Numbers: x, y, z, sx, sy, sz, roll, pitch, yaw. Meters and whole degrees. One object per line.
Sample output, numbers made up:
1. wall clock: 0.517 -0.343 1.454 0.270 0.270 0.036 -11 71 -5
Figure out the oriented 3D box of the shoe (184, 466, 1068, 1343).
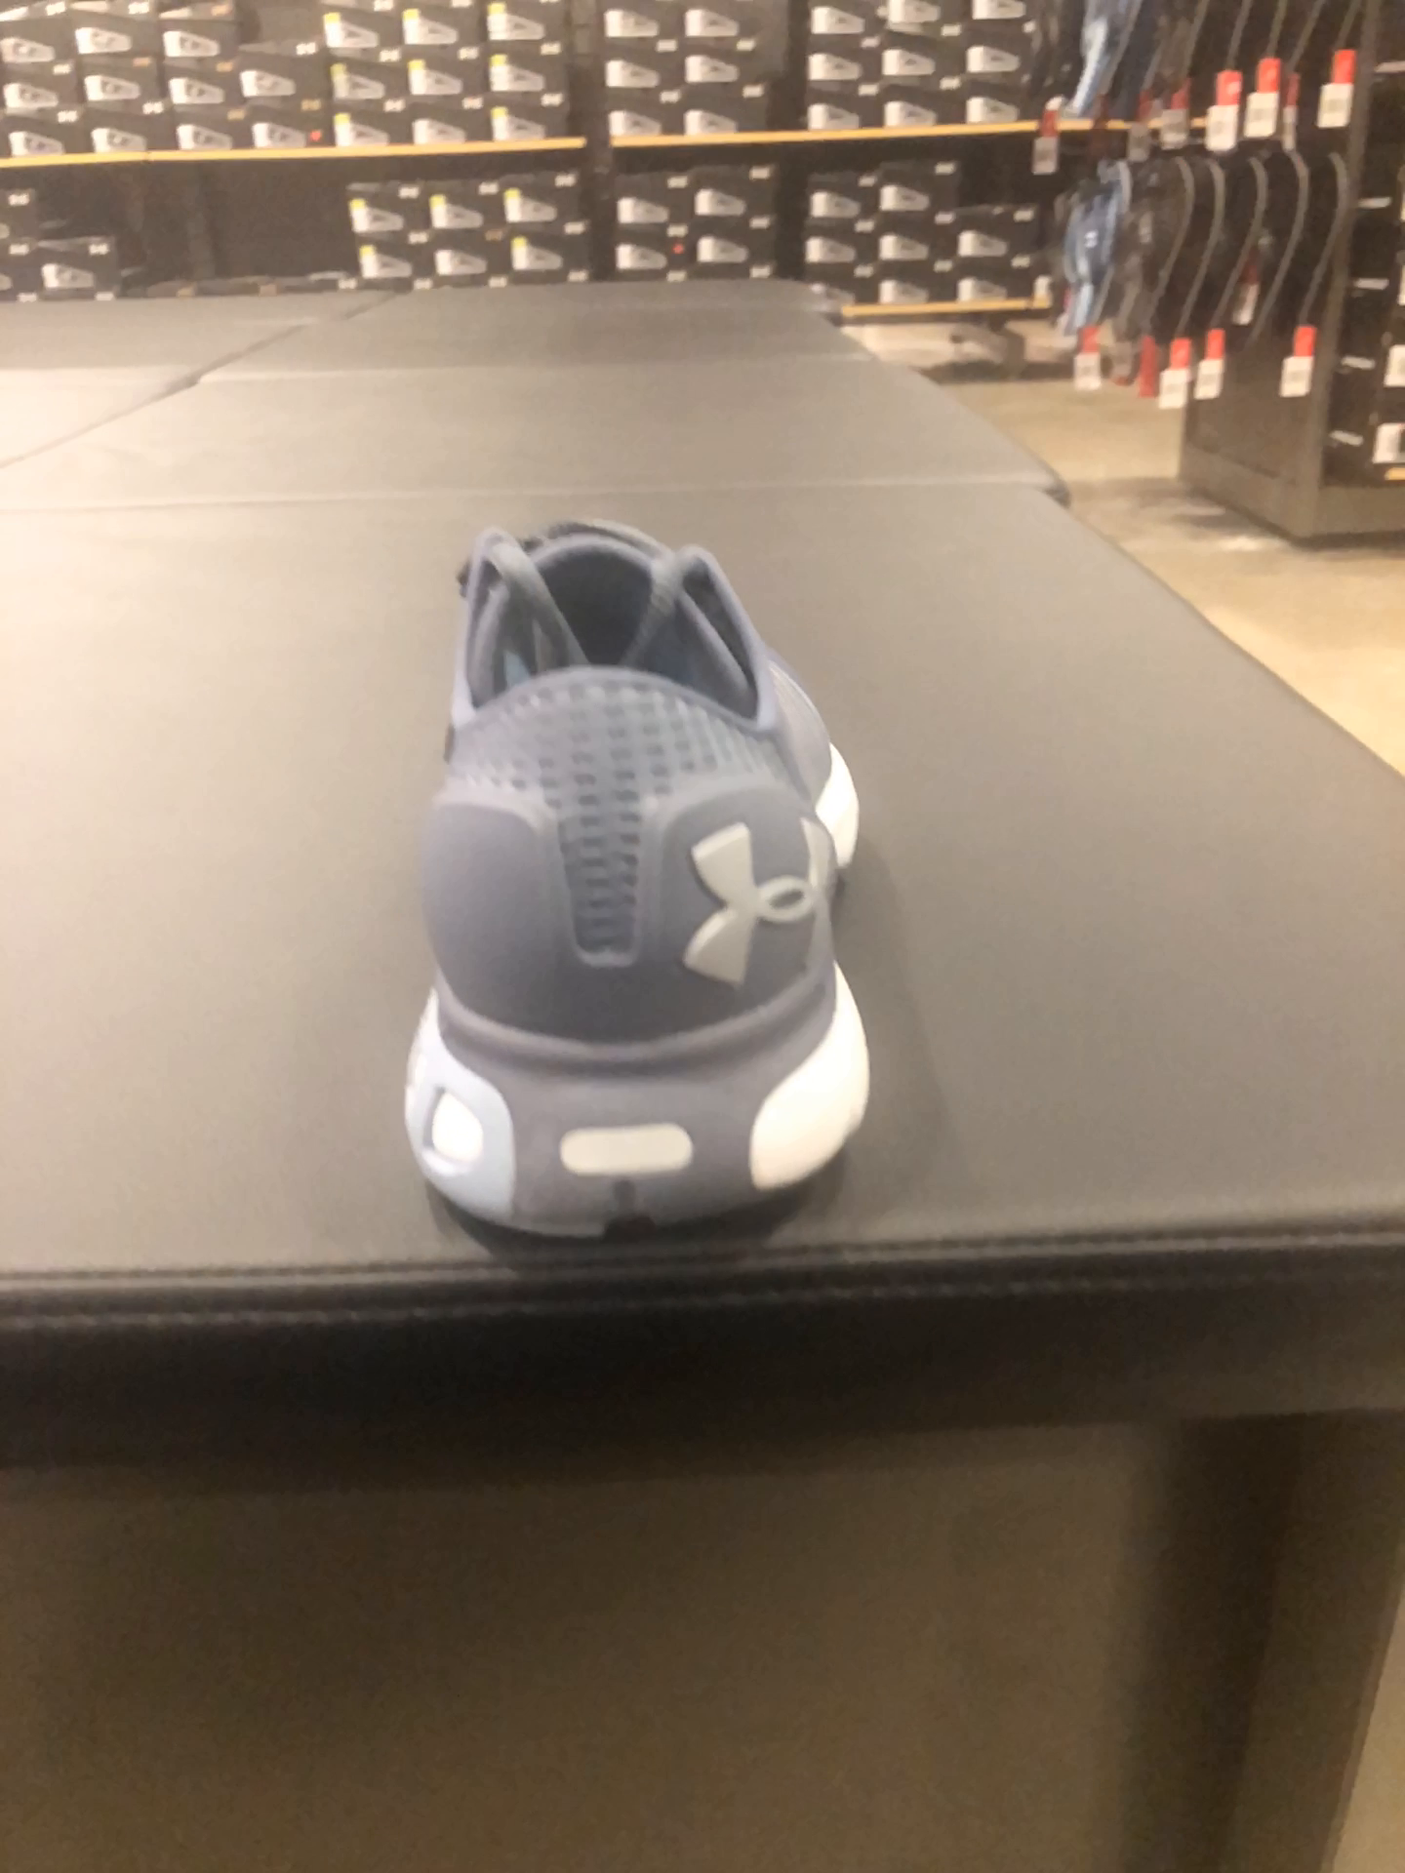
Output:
1. shoe: -0.011 -0.034 0.346 0.120 0.097 0.256 -1 25 0
